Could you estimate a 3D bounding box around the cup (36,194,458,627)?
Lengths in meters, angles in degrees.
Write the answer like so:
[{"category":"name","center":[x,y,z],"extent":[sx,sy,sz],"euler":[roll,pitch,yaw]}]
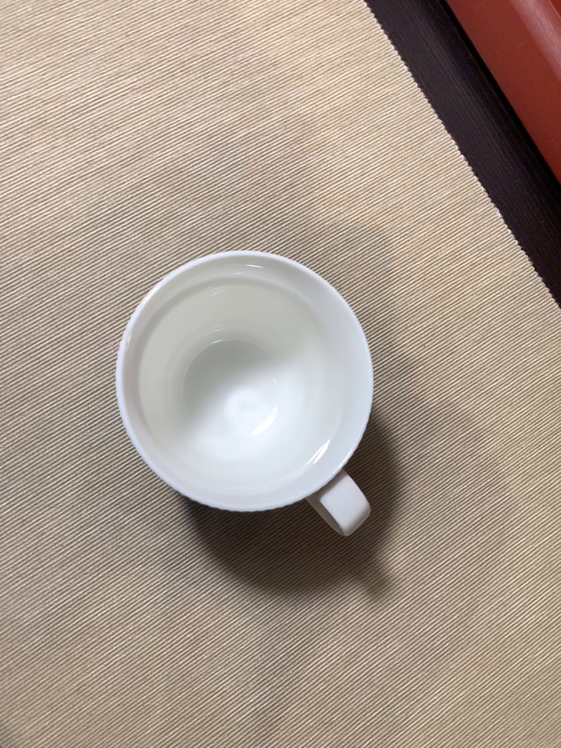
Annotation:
[{"category":"cup","center":[-0.012,0.012,0.219],"extent":[0.090,0.060,0.110],"euler":[-38,90,-11]}]
